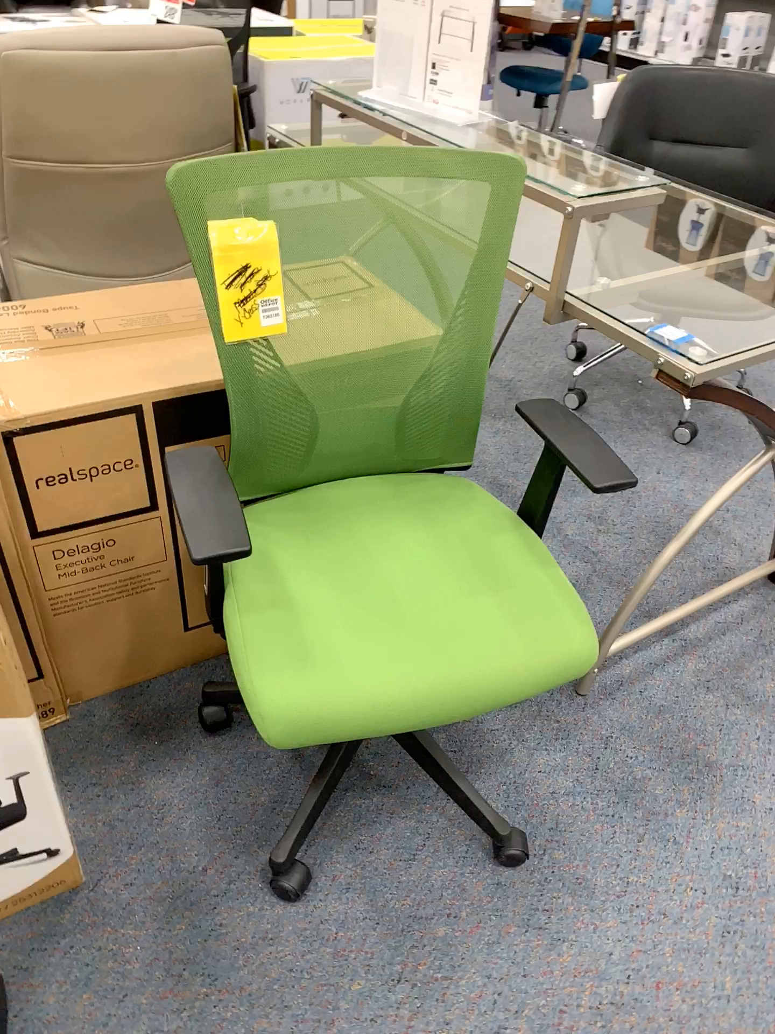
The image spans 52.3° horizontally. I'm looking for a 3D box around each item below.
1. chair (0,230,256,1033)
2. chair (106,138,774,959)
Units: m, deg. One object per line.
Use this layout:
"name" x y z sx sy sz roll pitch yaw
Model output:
"chair" -0.491 0.425 0.527 0.644 0.972 0.660 -9 40 -16
"chair" 0.021 0.030 1.132 0.644 0.912 0.600 -9 40 -16
